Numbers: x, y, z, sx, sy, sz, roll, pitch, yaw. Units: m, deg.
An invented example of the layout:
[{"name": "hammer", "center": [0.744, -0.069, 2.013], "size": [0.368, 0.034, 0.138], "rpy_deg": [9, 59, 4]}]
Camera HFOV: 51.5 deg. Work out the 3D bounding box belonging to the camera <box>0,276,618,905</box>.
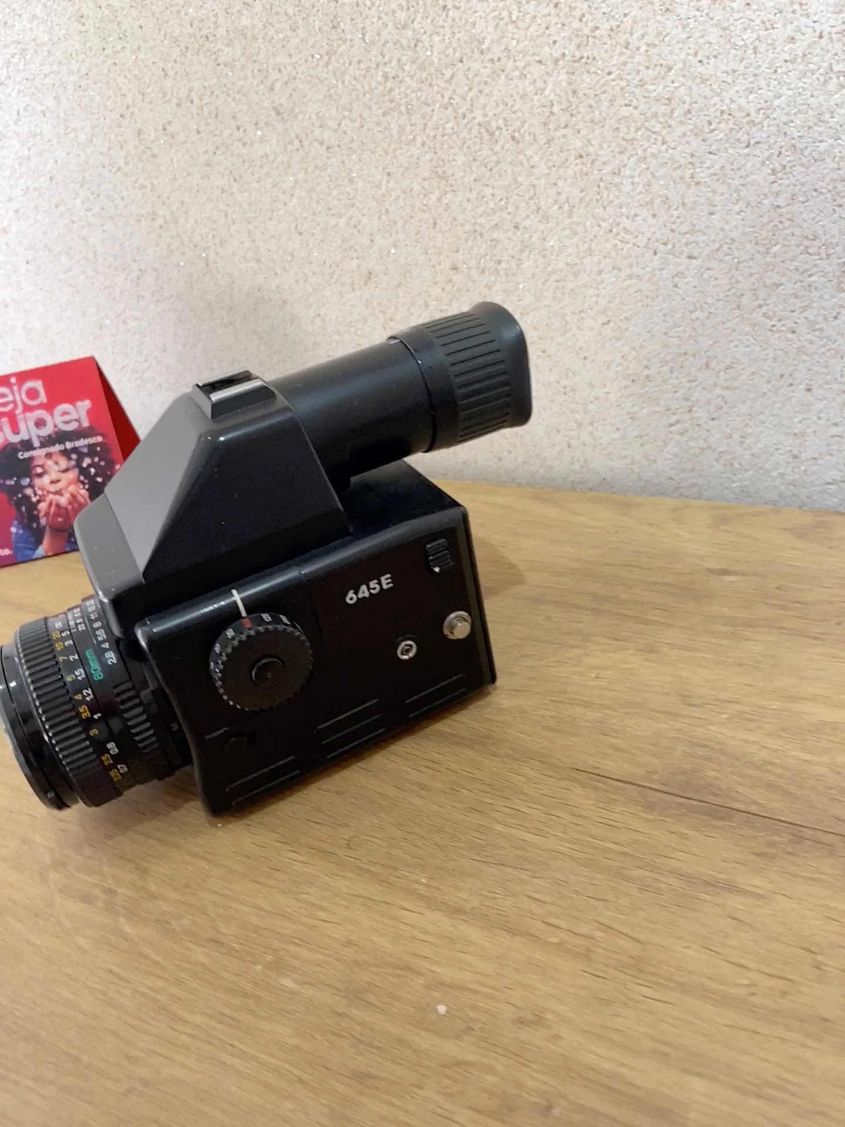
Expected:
[{"name": "camera", "center": [-0.059, -0.010, 0.319], "size": [0.220, 0.109, 0.121], "rpy_deg": [-25, 33, -19]}]
